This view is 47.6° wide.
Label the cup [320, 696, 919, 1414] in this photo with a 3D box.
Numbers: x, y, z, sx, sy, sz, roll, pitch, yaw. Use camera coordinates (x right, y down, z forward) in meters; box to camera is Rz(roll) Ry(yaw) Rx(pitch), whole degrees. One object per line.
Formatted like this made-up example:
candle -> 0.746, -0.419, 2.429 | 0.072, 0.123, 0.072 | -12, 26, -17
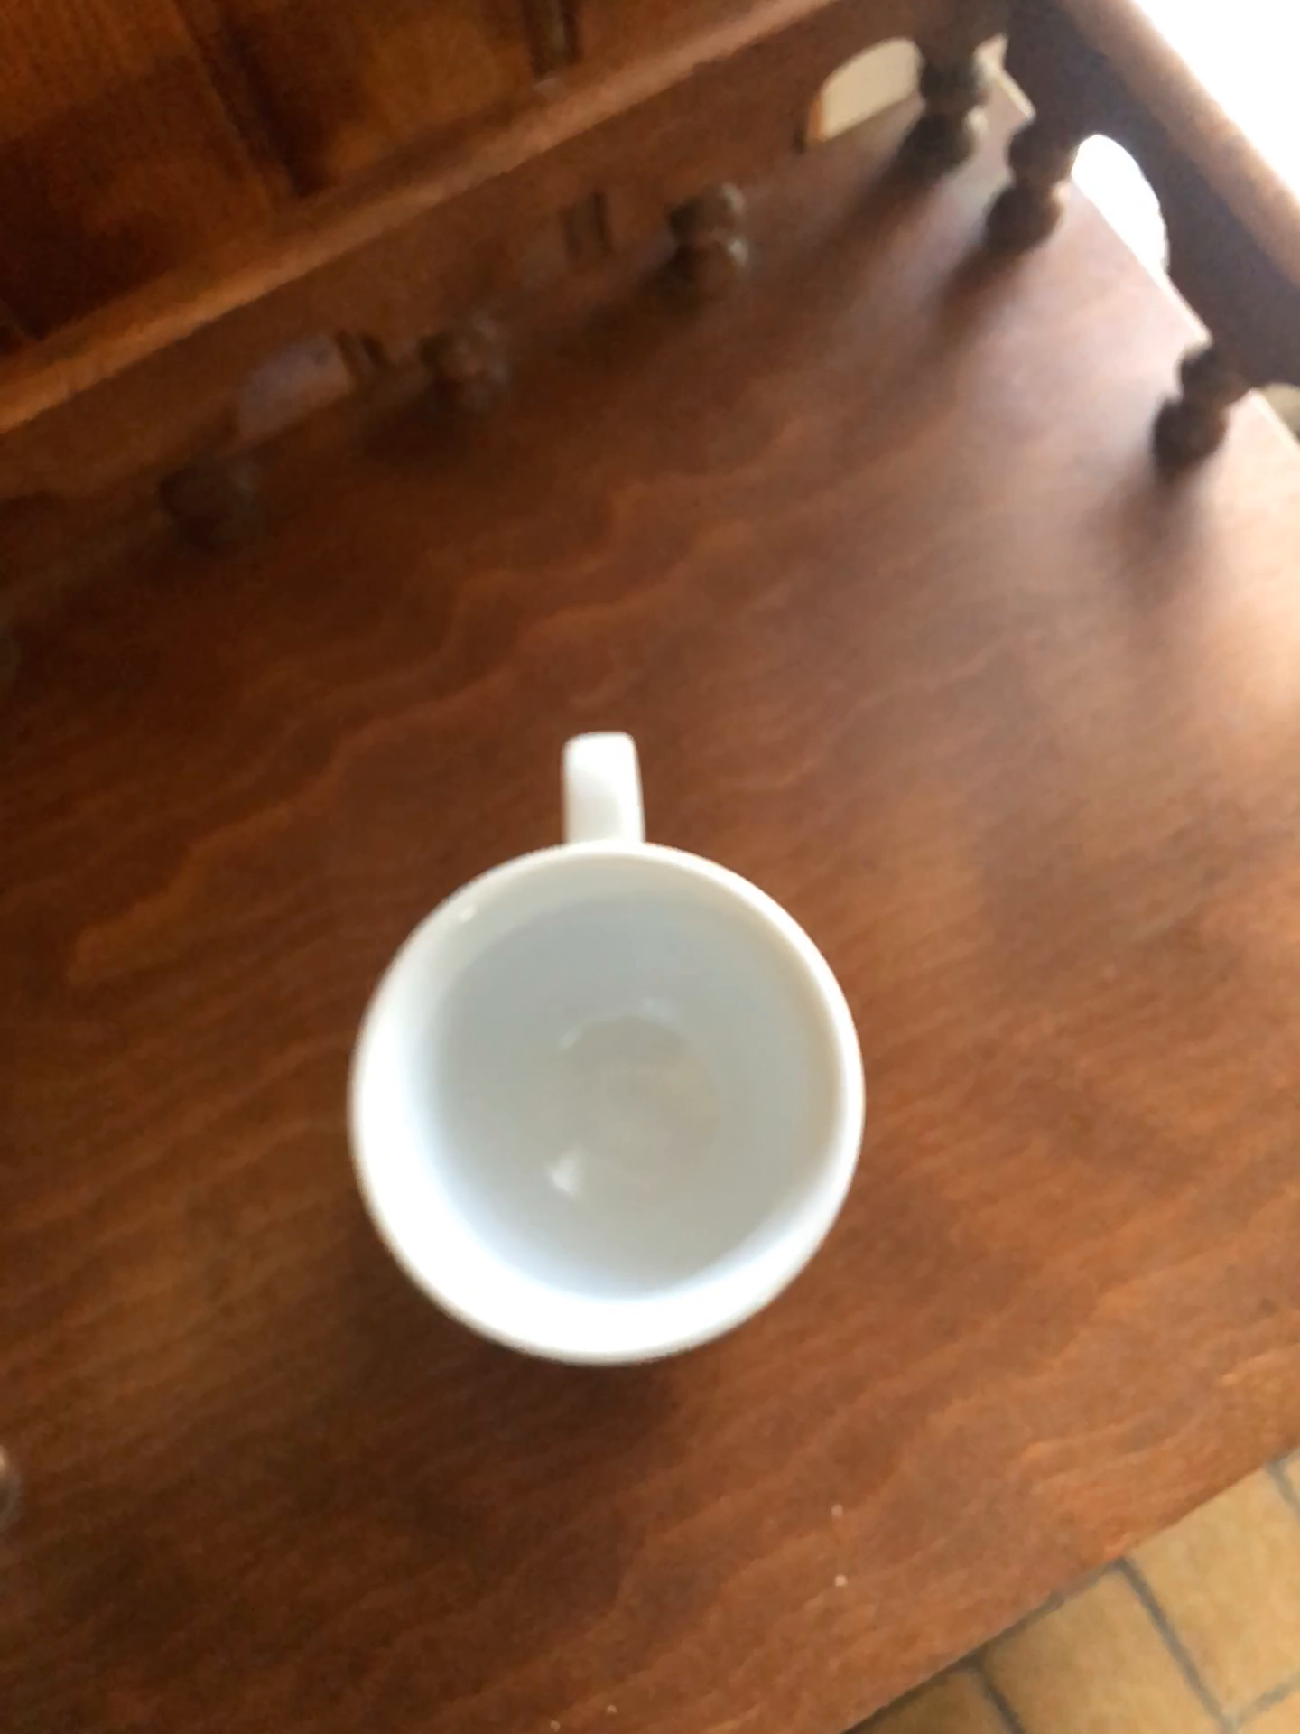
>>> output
cup -> -0.006, 0.034, 0.268 | 0.090, 0.050, 0.110 | -6, 76, 2
